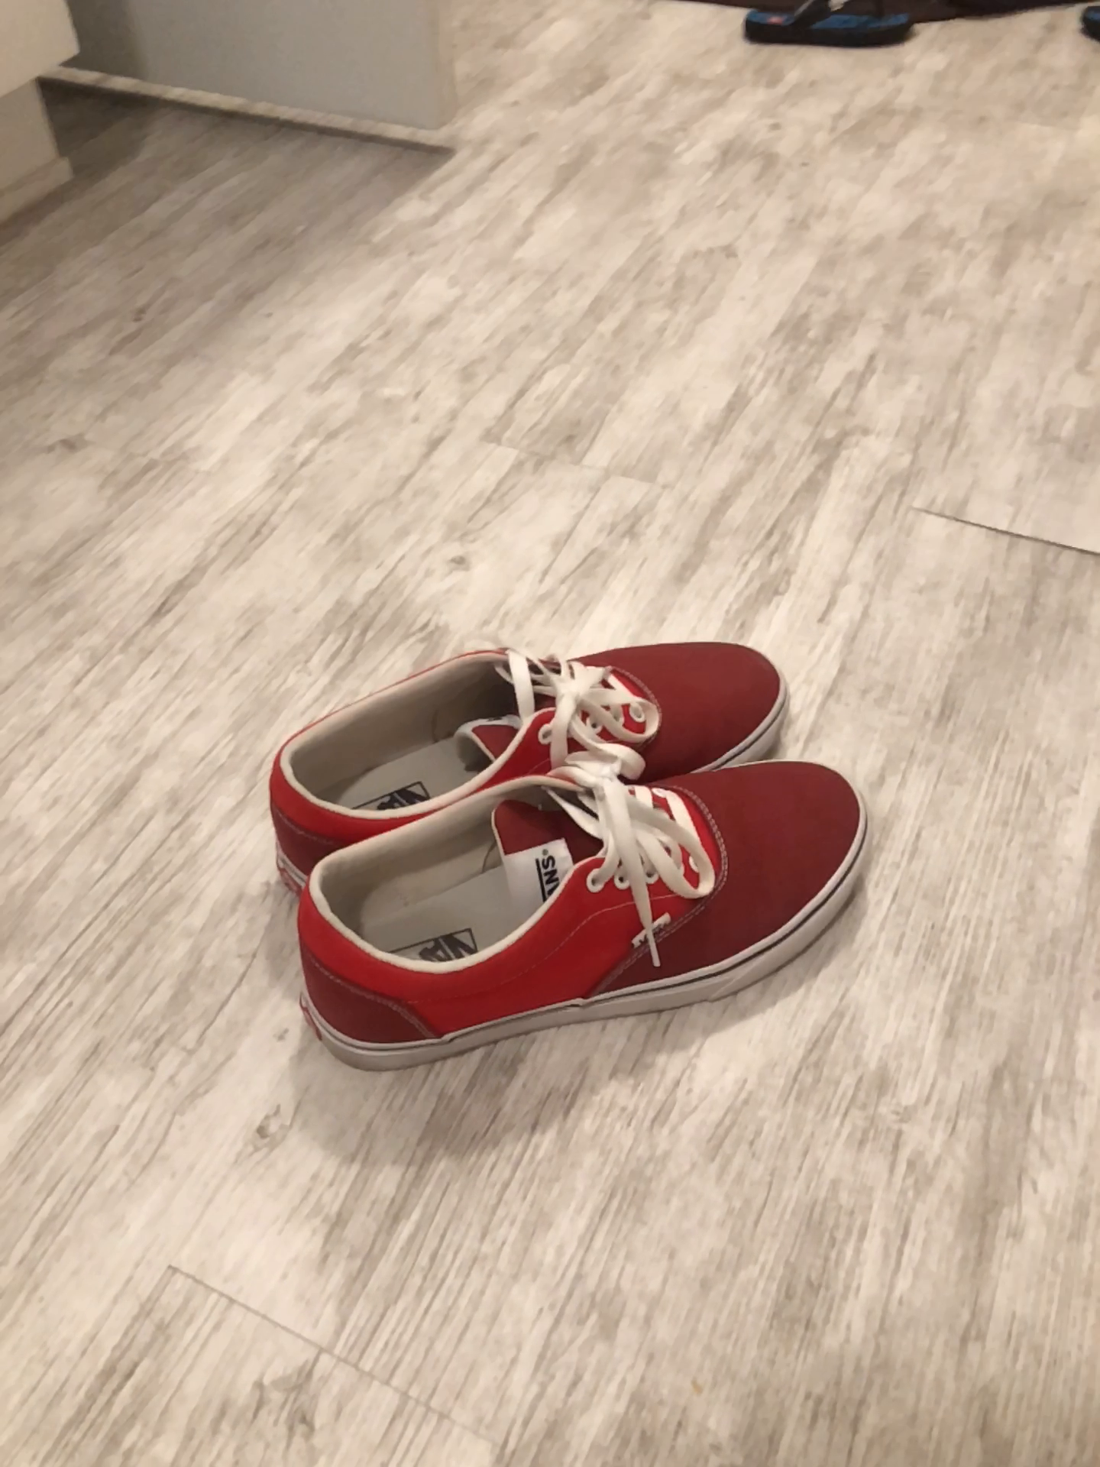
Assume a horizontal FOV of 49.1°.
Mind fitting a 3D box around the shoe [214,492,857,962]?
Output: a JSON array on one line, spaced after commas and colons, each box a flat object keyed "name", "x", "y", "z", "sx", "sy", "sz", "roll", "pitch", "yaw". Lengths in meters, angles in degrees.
[{"name": "shoe", "x": -0.005, "y": -0.010, "z": 0.571, "sx": 0.266, "sy": 0.088, "sz": 0.110, "roll": -21, "pitch": 51, "yaw": -15}]

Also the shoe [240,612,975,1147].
[{"name": "shoe", "x": 0.024, "y": 0.055, "z": 0.515, "sx": 0.272, "sy": 0.093, "sz": 0.110, "roll": -19, "pitch": 50, "yaw": -14}]
